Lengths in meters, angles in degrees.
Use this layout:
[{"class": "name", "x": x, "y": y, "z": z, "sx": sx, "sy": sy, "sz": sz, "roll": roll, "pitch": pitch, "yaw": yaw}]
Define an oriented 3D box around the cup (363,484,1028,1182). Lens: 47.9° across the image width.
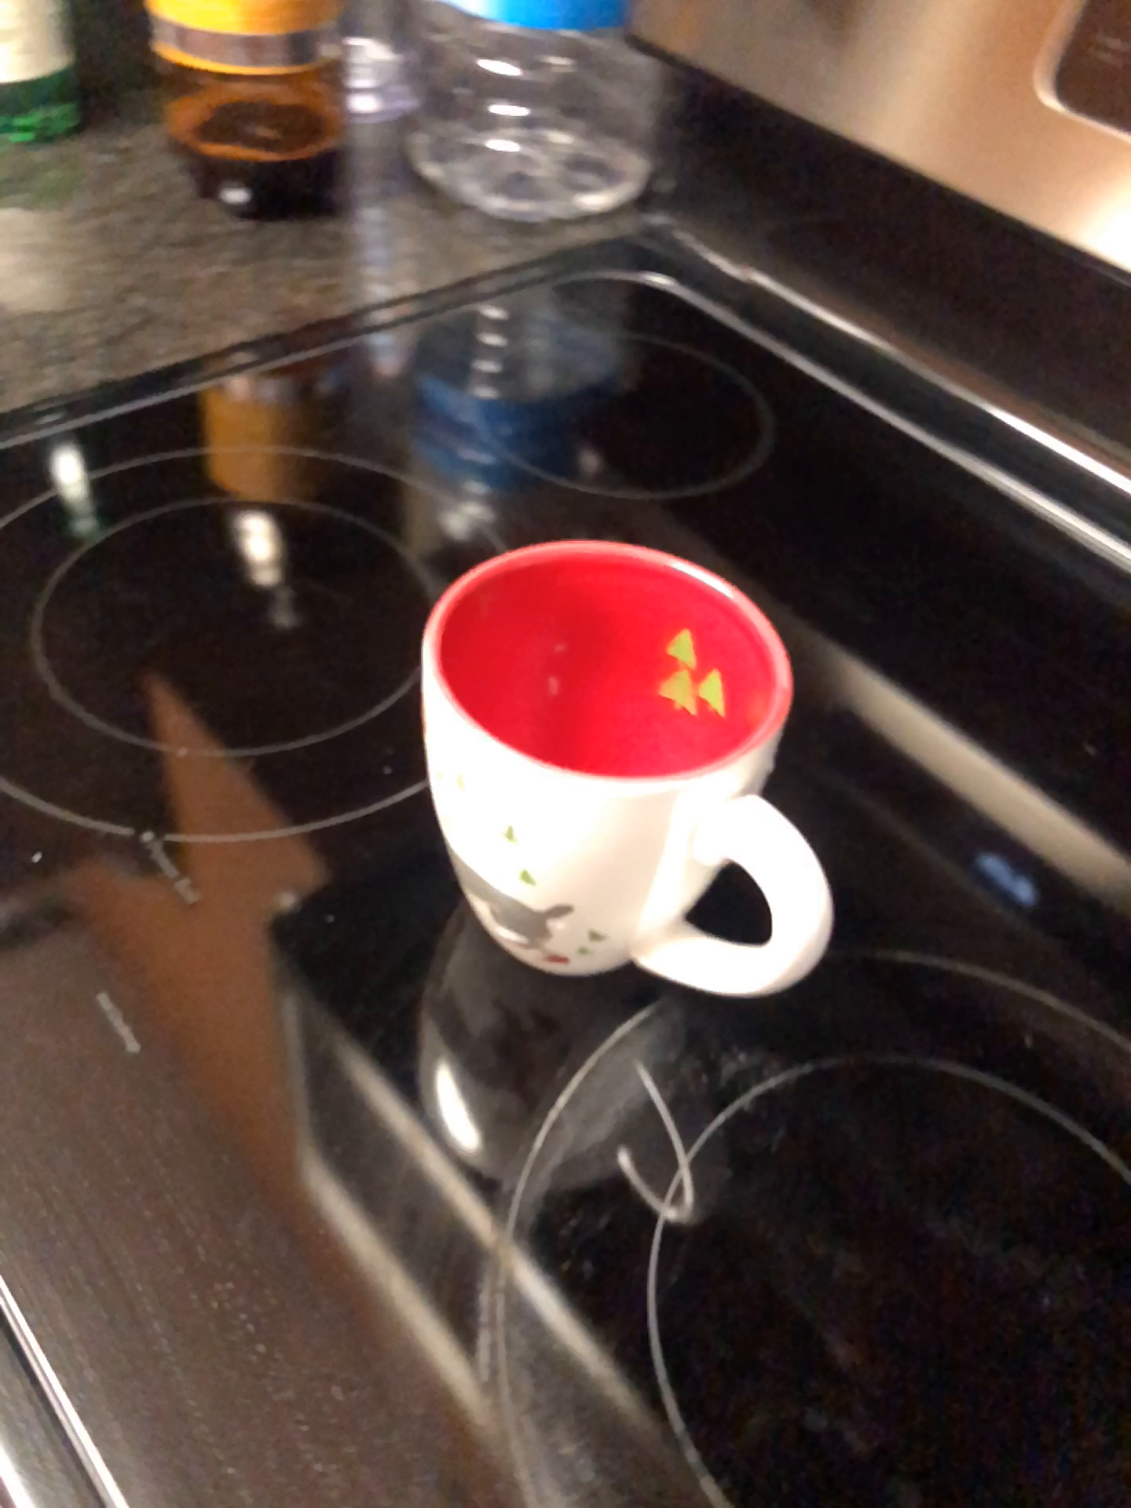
[{"class": "cup", "x": 0.026, "y": 0.016, "z": 0.358, "sx": 0.100, "sy": 0.100, "sz": 0.140, "roll": -30, "pitch": 56, "yaw": -31}]
